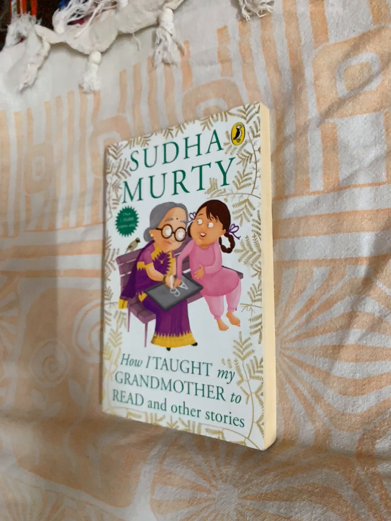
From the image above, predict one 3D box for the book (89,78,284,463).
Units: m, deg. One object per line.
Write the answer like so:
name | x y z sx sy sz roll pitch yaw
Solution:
book | -0.011 0.004 0.257 0.131 0.020 0.200 -5 80 36
